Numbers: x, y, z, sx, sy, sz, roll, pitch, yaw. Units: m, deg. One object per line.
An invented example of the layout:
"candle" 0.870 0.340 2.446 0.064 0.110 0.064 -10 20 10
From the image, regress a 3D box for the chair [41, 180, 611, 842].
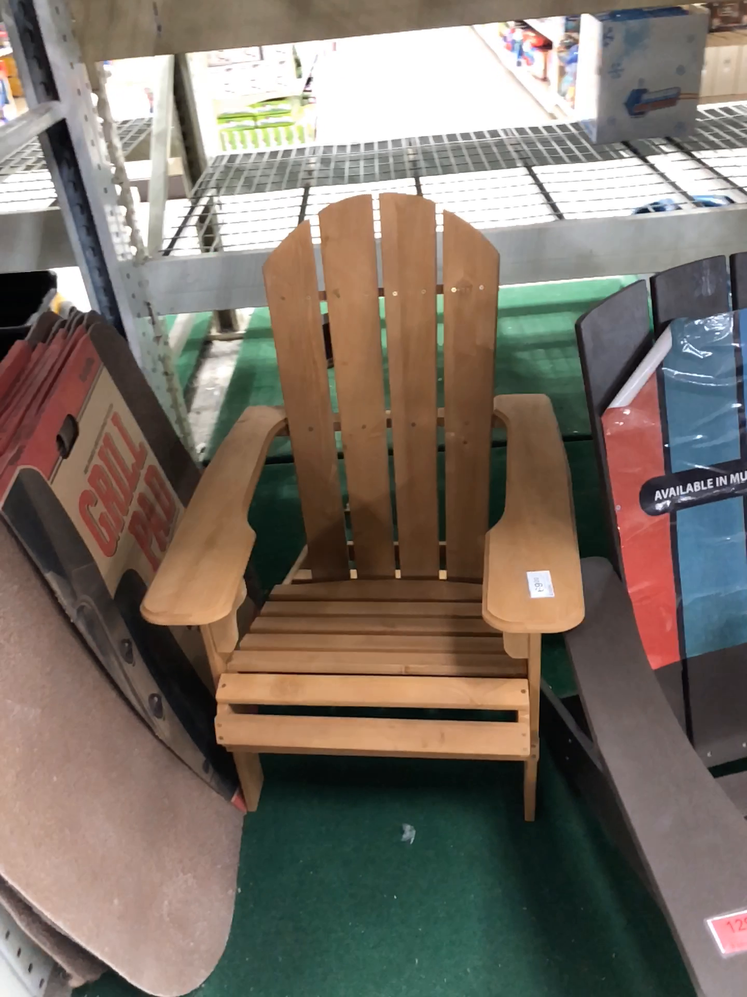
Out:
"chair" 0.008 0.014 1.436 0.641 0.885 0.690 0 36 8
